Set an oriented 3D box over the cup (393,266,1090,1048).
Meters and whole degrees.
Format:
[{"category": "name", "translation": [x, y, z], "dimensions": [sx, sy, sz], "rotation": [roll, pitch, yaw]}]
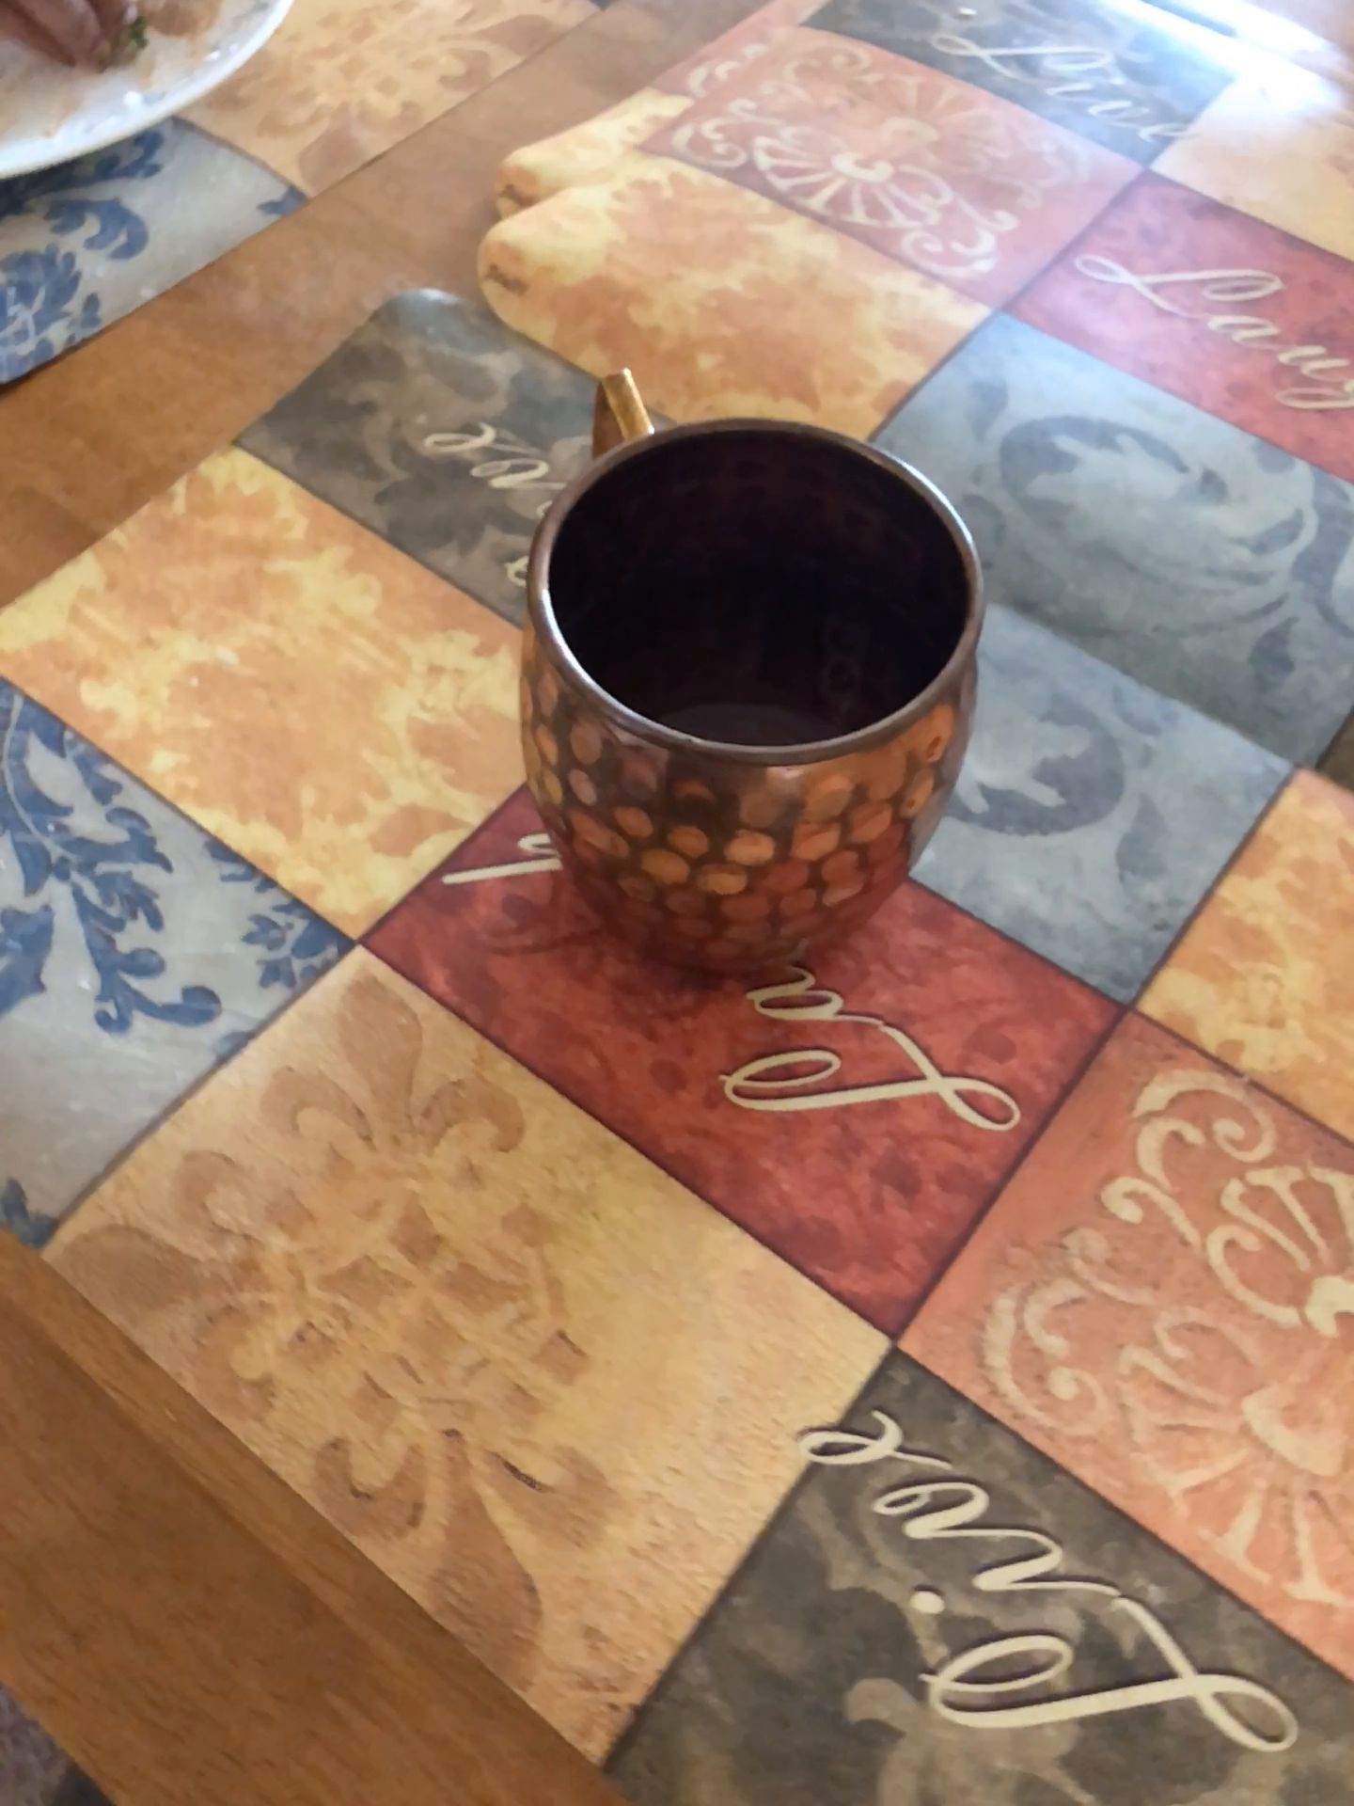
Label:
[{"category": "cup", "translation": [0.007, -0.054, 0.330], "dimensions": [0.100, 0.090, 0.120], "rotation": [-15, 60, -10]}]
